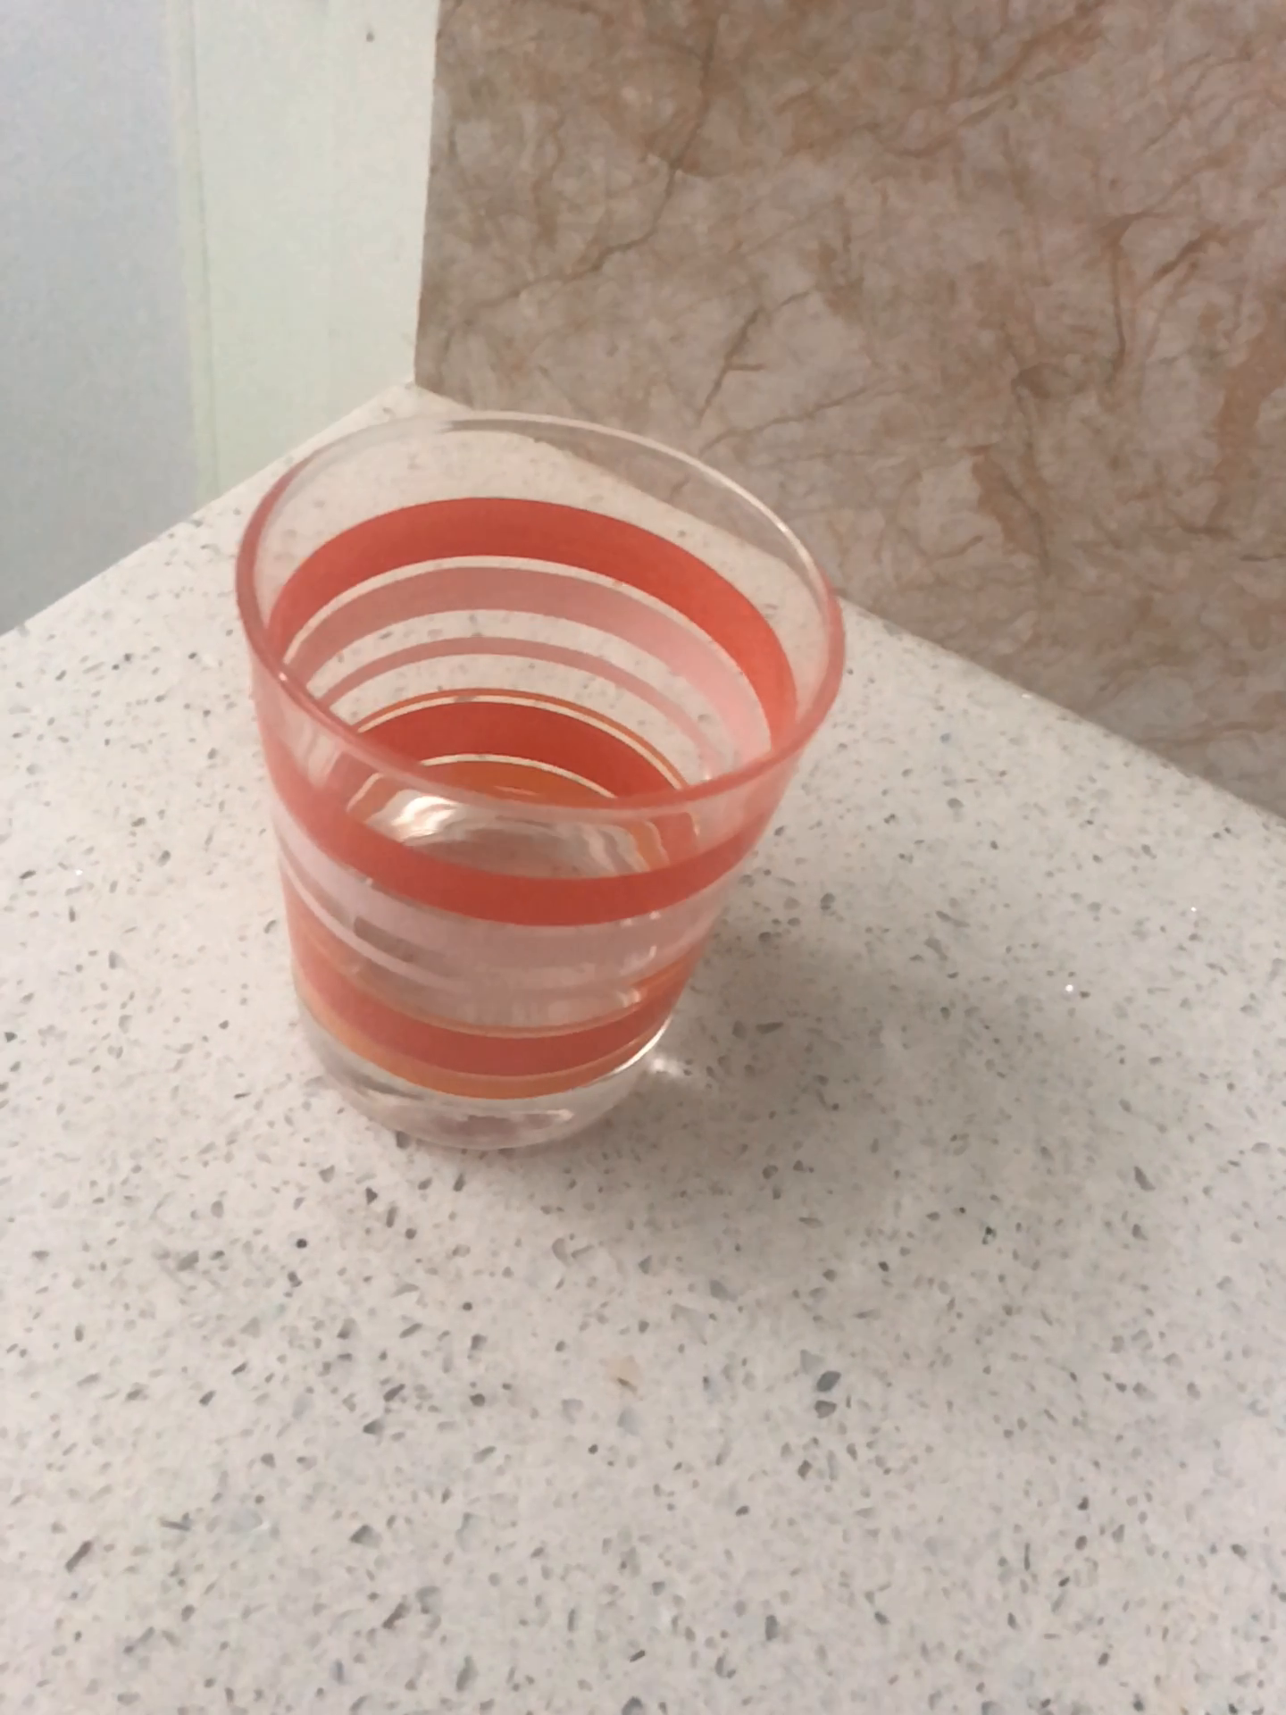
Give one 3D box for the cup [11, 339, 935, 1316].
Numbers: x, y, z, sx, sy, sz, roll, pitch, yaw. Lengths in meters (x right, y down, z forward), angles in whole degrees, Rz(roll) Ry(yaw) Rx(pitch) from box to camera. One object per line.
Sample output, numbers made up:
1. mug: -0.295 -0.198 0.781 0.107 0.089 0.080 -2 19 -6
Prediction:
1. cup: -0.023 -0.004 0.215 0.090 0.090 0.080 24 48 8
